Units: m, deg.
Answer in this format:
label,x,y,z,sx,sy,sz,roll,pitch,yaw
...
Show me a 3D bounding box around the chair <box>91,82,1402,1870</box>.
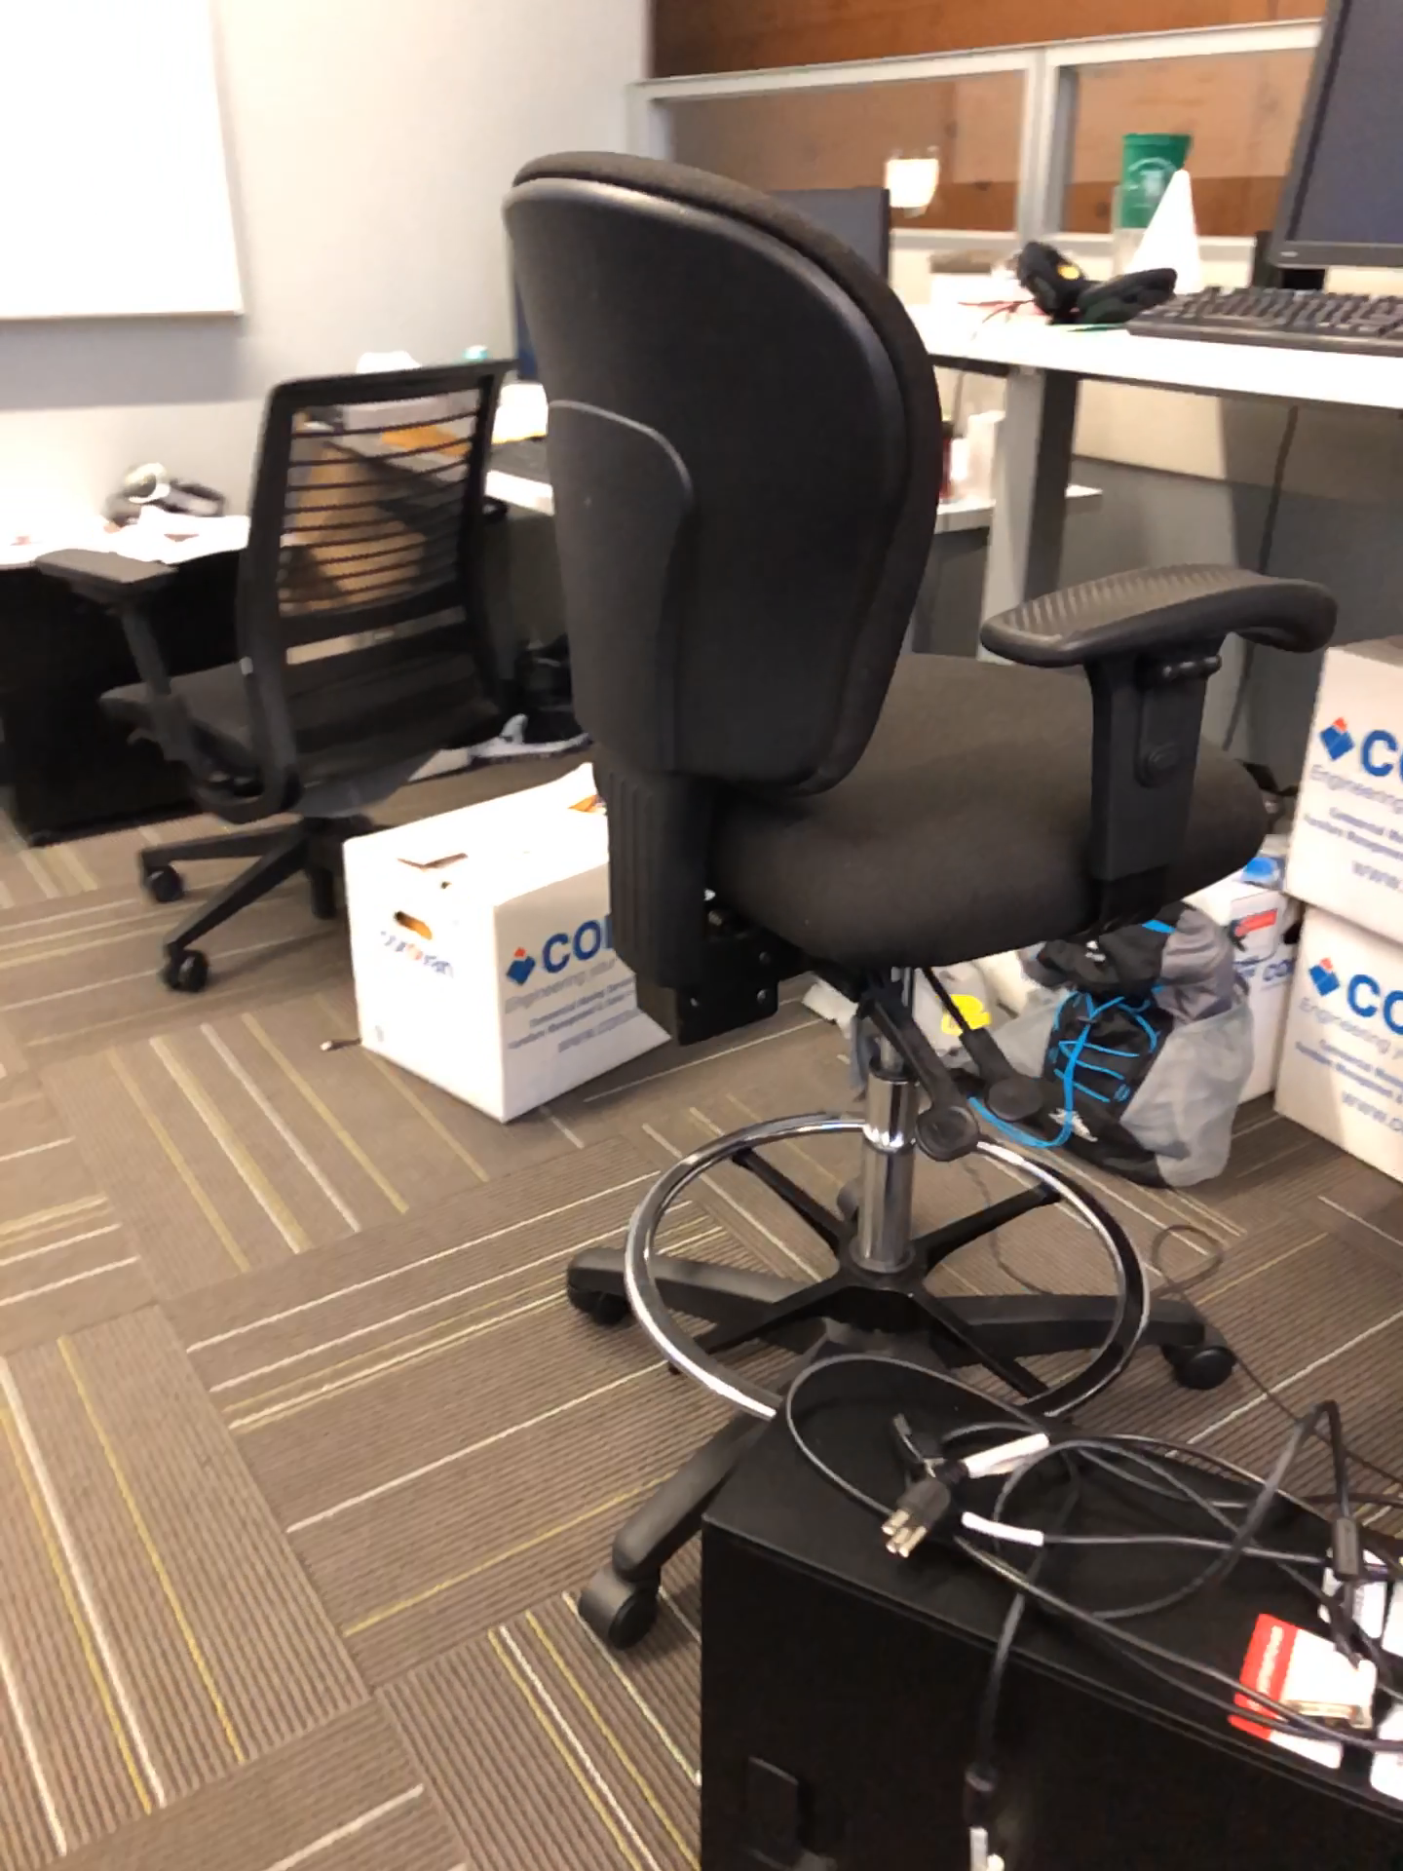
label,x,y,z,sx,sy,sz,roll,pitch,yaw
chair,0.156,-0.092,1.385,0.962,1.104,0.893,-16,30,-31
